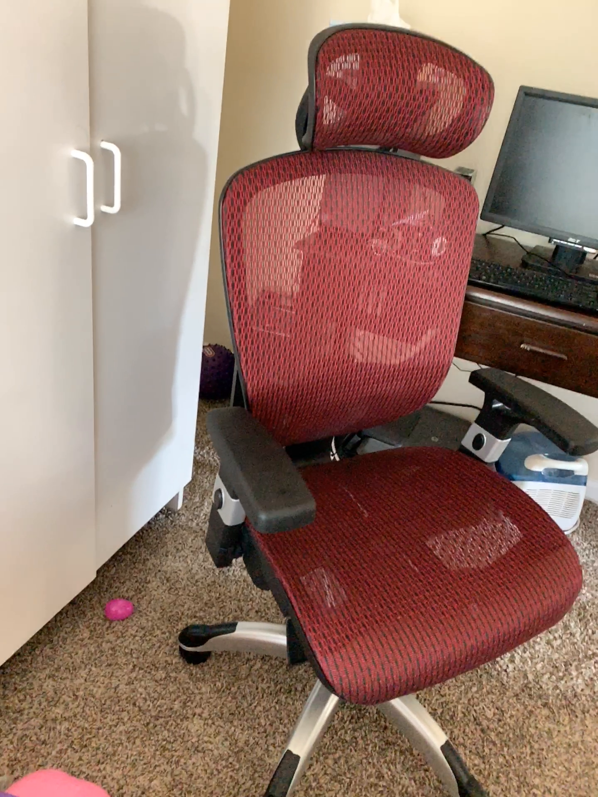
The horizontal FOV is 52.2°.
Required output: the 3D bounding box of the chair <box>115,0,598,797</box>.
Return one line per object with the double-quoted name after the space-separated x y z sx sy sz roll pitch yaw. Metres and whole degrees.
0.163 0.081 0.990 0.731 1.154 0.813 -7 34 -26 "chair"
